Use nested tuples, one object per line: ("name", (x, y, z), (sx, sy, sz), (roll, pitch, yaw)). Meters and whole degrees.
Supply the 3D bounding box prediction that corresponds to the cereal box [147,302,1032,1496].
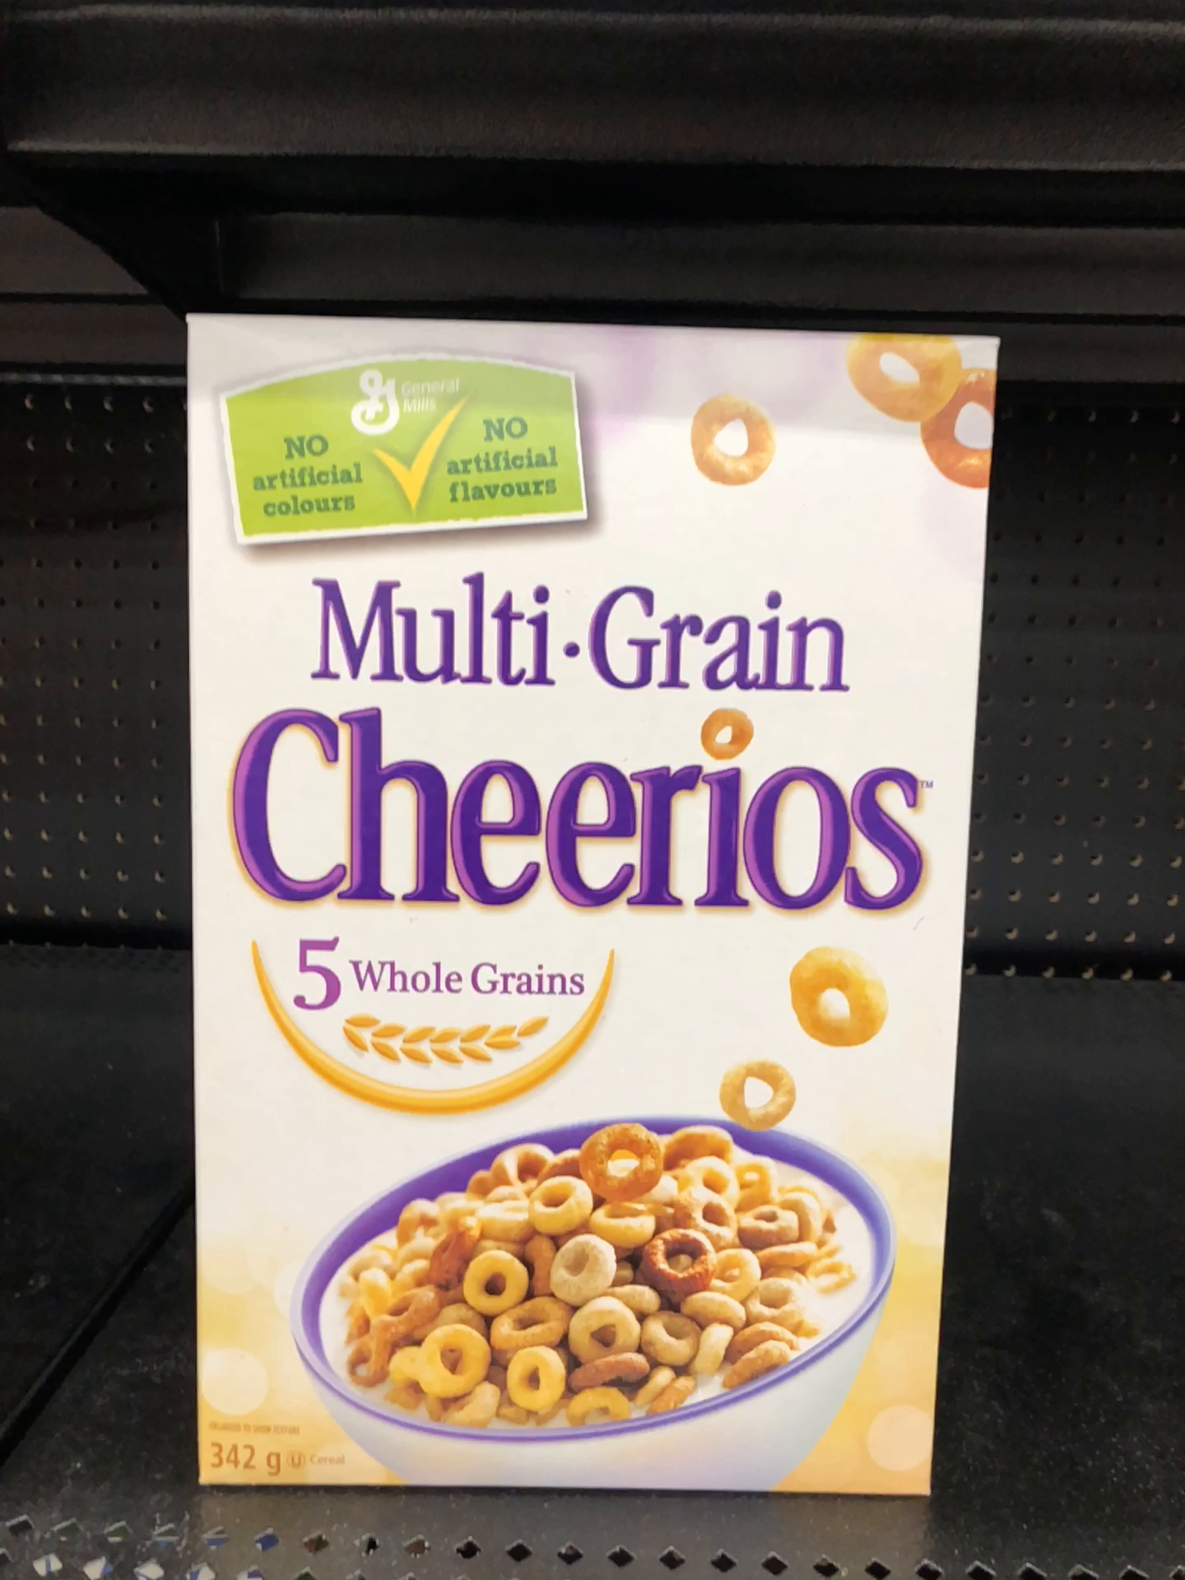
("cereal box", (-0.003, 0.030, 0.350), (0.200, 0.289, 0.070), (1, 8, 0))
